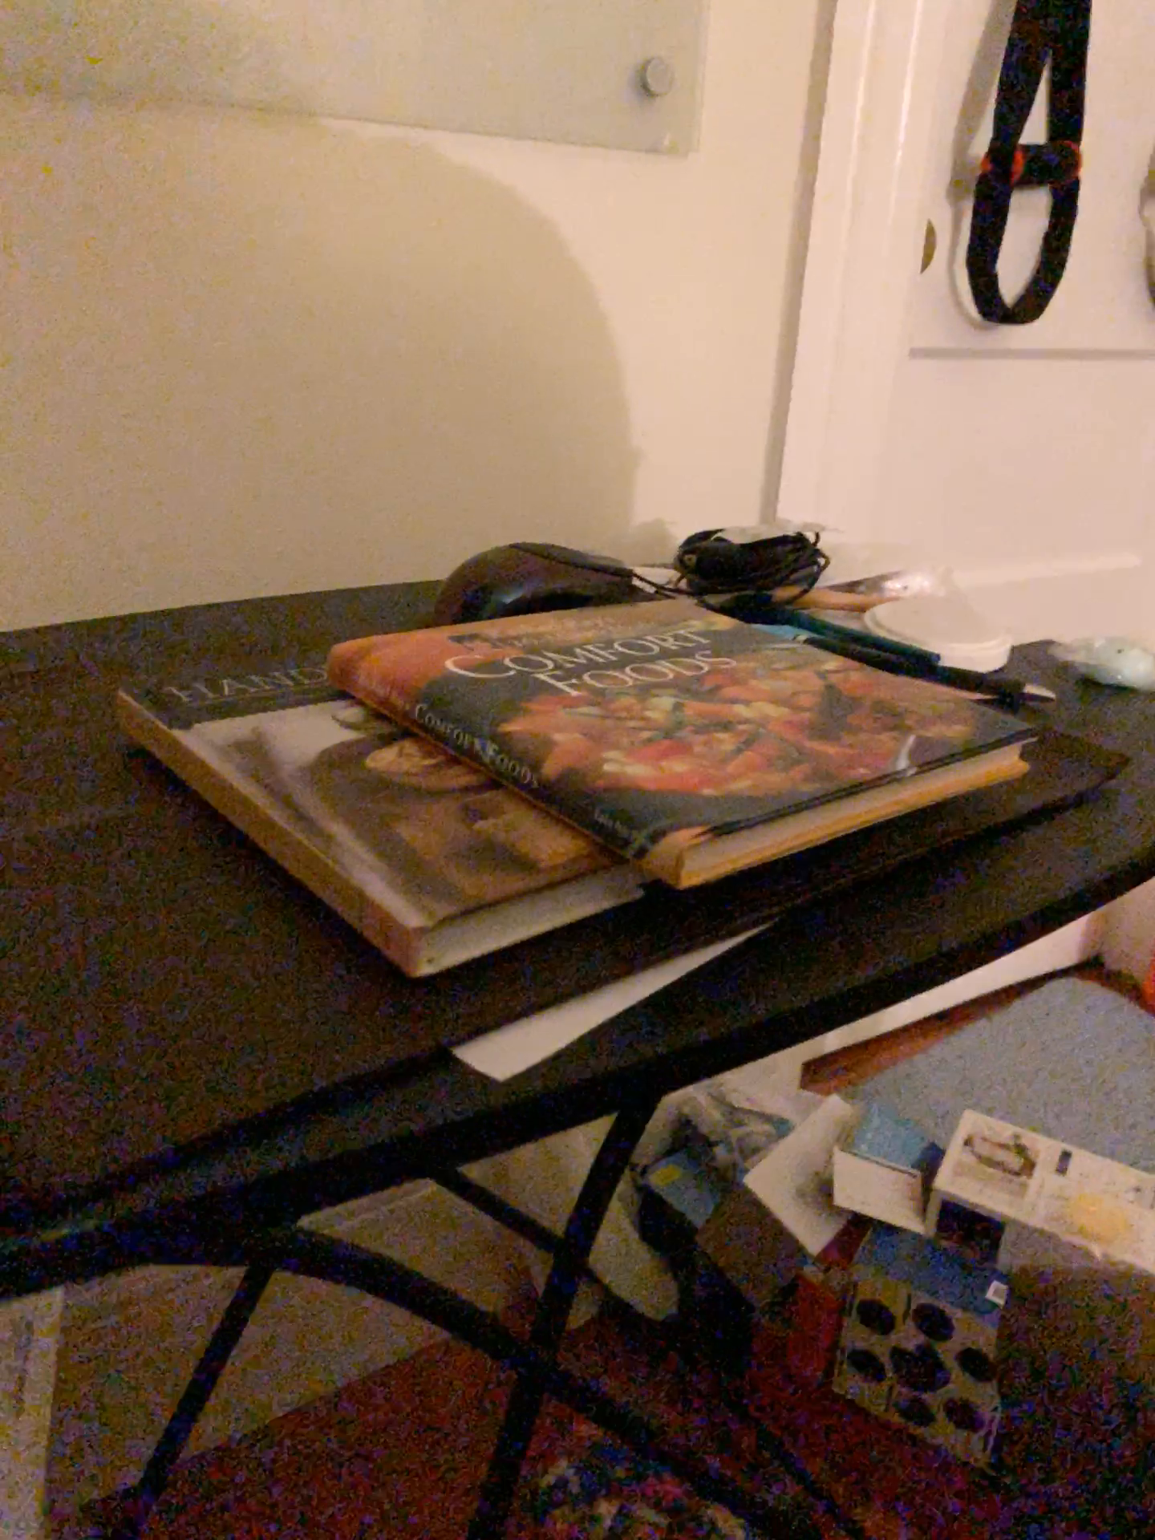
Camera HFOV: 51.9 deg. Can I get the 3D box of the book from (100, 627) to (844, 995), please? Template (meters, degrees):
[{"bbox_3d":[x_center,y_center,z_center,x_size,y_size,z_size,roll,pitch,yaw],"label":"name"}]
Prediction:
[{"bbox_3d":[-0.046,-0.005,0.442,0.180,0.020,0.221,-14,29,-38],"label":"book"}]

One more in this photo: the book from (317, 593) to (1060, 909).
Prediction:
[{"bbox_3d":[0.040,-0.025,0.467,0.200,0.020,0.211,-15,29,-38],"label":"book"}]
